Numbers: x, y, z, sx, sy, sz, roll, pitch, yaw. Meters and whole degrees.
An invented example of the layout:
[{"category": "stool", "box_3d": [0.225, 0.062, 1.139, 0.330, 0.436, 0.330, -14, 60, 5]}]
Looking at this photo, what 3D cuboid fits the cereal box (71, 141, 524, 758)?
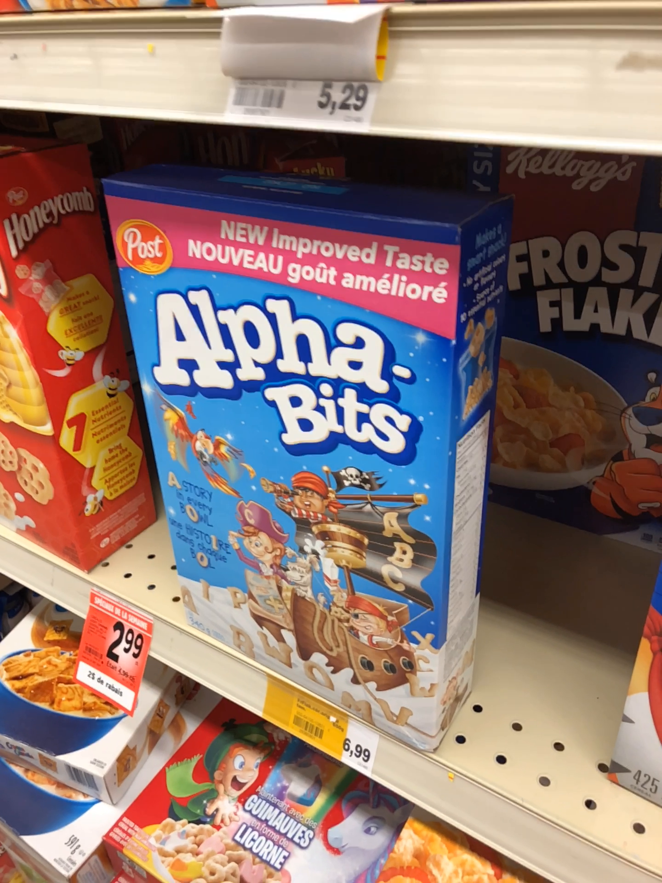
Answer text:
[{"category": "cereal box", "box_3d": [-0.016, 0.009, 0.396, 0.201, 0.297, 0.060, 19, 39, 30]}]
